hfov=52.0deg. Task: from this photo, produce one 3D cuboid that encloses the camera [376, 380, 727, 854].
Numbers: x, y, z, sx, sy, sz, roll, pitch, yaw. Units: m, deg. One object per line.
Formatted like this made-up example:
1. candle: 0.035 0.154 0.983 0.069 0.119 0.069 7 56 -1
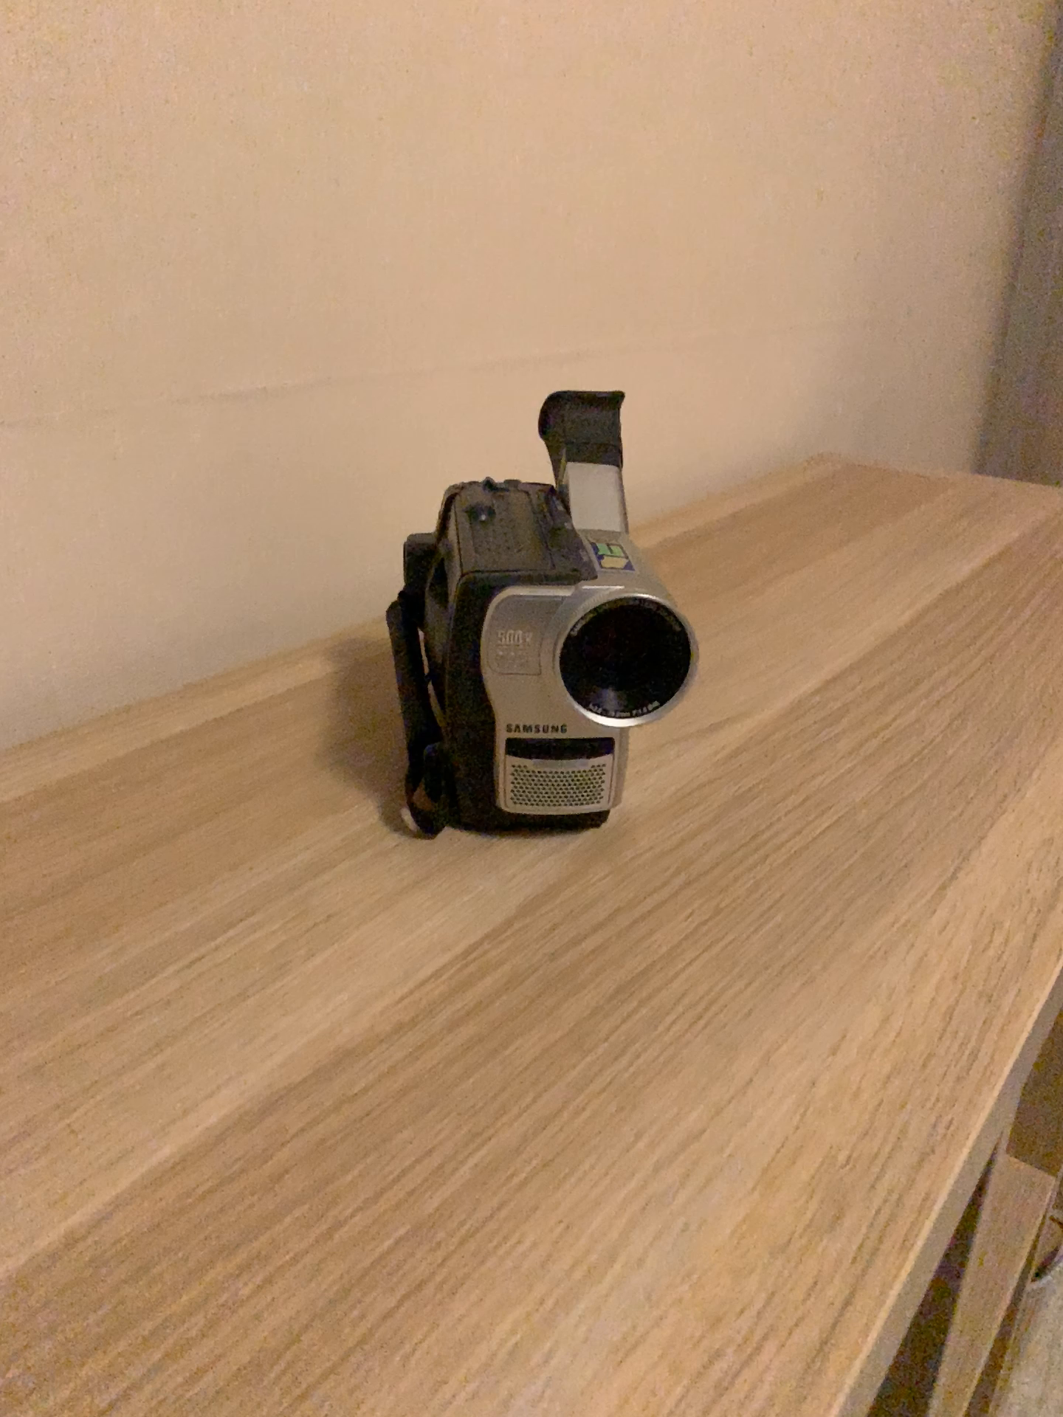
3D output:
1. camera: -0.008 -0.051 0.438 0.106 0.133 0.193 -1 23 -8
